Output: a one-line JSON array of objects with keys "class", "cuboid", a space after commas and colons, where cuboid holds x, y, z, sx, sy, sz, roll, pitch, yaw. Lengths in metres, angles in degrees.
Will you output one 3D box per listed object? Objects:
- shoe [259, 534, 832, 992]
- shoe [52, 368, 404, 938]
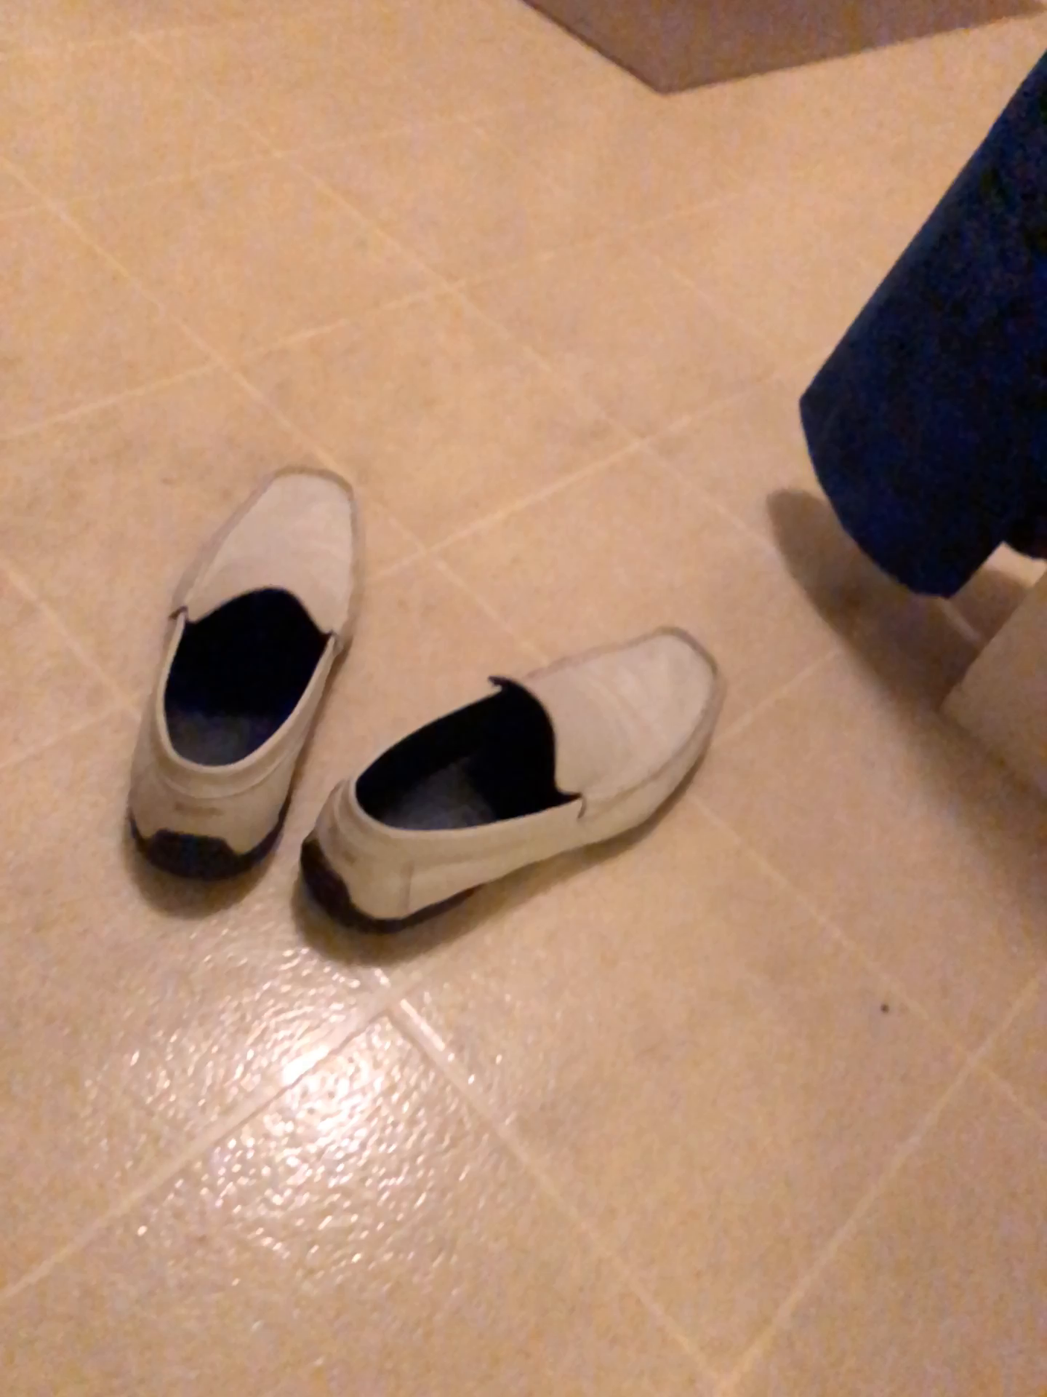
[{"class": "shoe", "cuboid": [0.016, 0.023, 0.626, 0.290, 0.097, 0.111, -25, 62, -31]}, {"class": "shoe", "cuboid": [-0.146, -0.038, 0.630, 0.110, 0.097, 0.308, 11, 50, -7]}]
